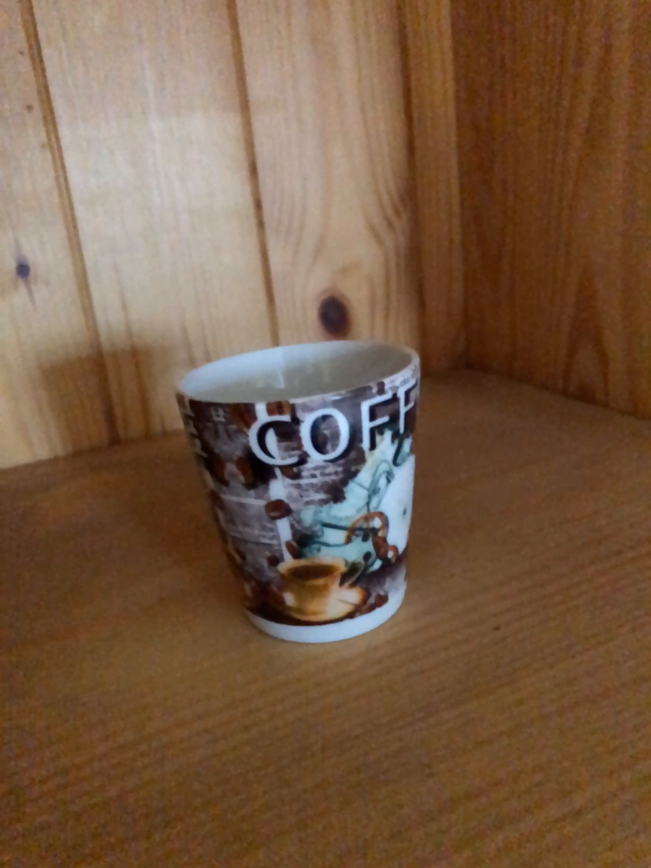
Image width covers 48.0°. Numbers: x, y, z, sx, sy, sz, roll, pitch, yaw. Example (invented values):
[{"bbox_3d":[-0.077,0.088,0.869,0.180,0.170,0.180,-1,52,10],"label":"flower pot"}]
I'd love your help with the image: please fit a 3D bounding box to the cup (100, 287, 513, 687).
[{"bbox_3d":[-0.001,0.004,0.190,0.080,0.070,0.060,-21,23,-39],"label":"cup"}]
